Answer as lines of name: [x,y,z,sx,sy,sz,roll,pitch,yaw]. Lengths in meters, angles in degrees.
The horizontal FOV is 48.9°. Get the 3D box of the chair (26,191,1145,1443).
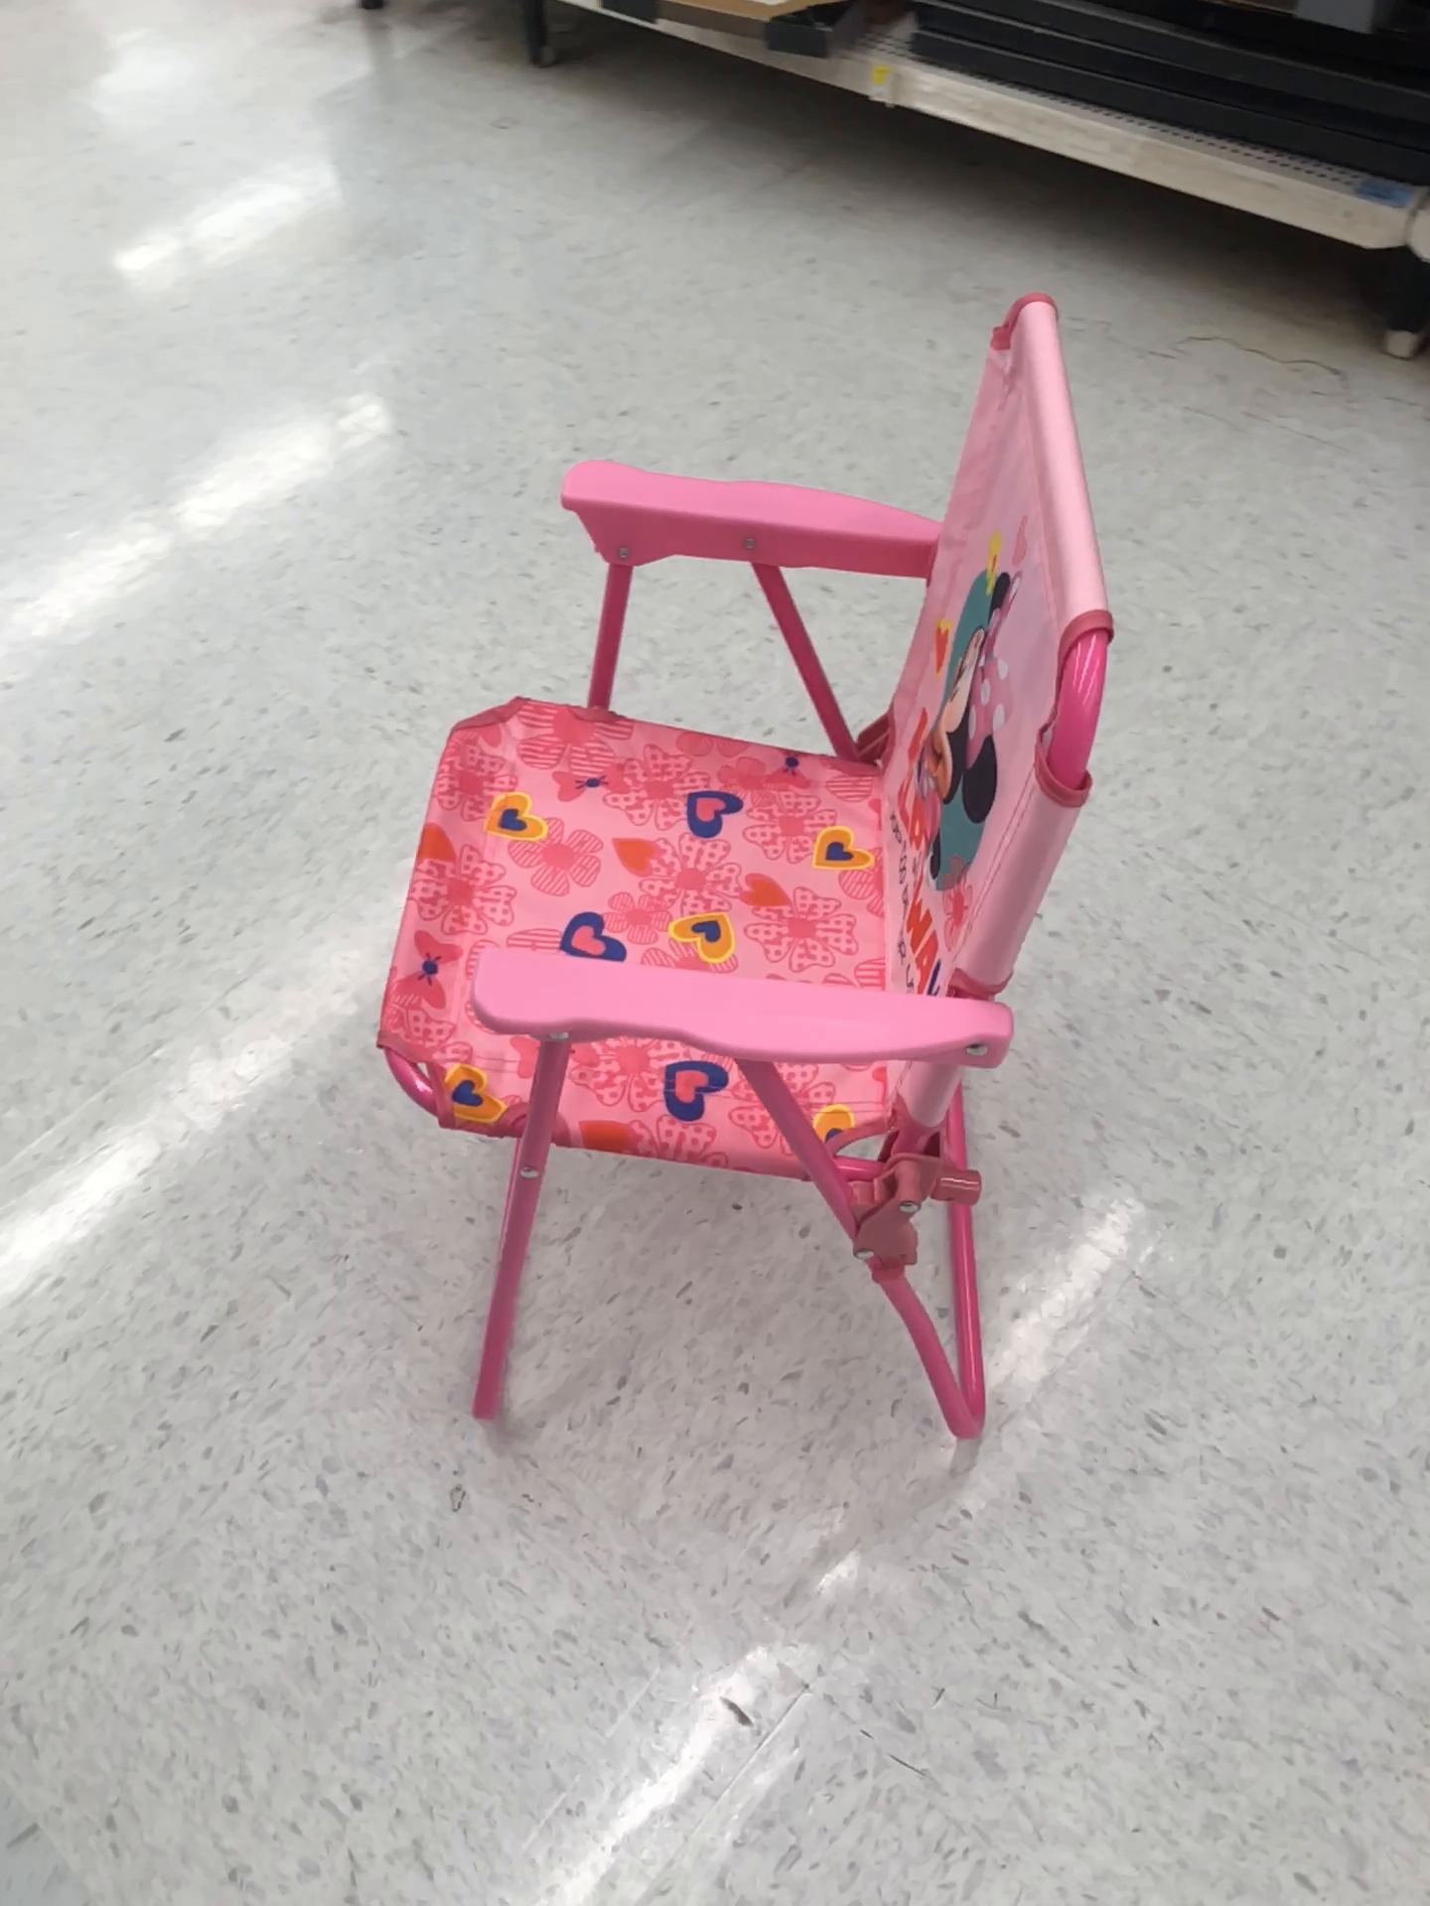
chair: [-0.014,-0.038,0.773,0.340,0.489,0.361,1,51,6]
